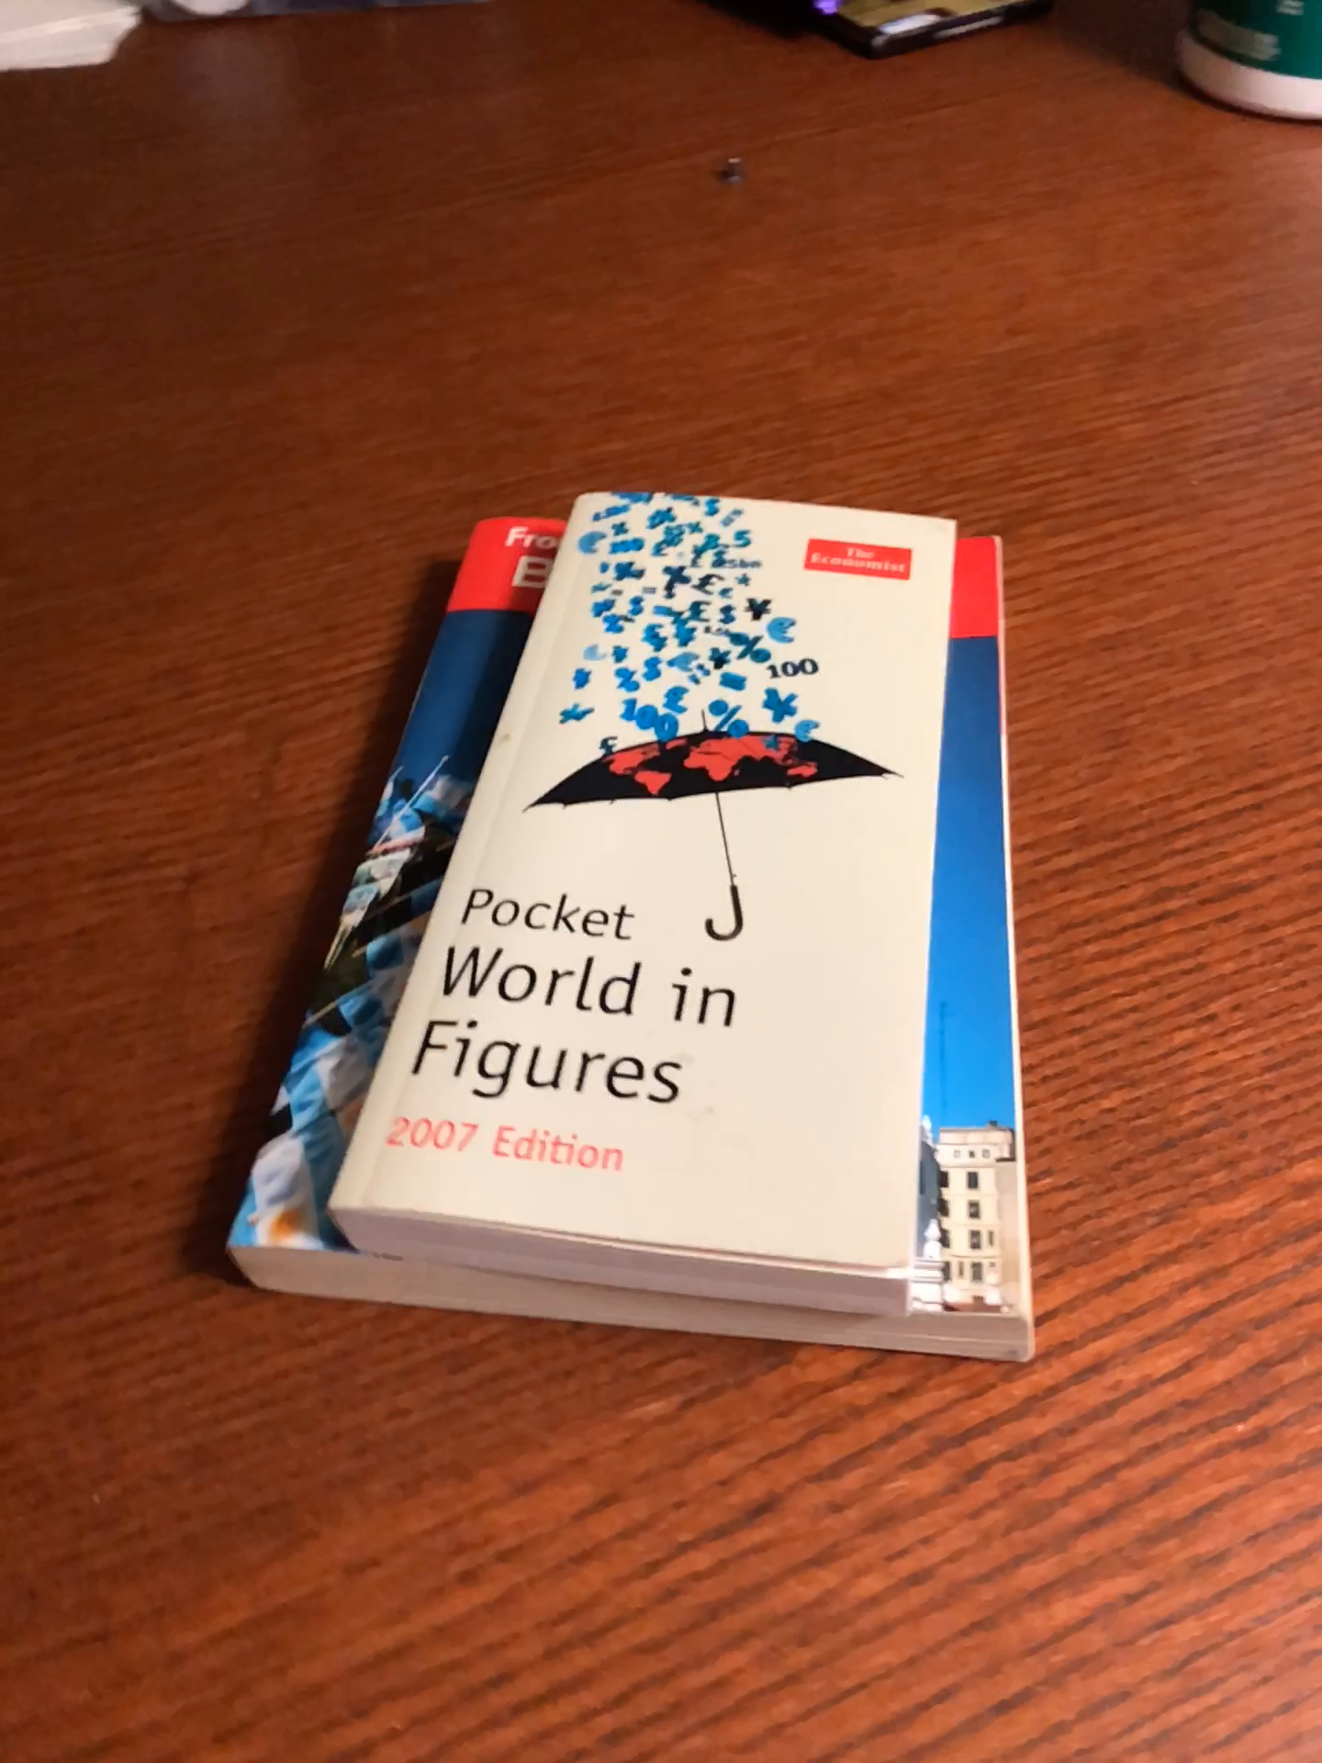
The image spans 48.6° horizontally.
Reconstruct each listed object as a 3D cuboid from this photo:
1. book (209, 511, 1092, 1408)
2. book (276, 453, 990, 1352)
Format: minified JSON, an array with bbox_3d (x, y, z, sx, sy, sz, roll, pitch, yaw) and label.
[{"bbox_3d":[0.010,-0.005,0.307,0.140,0.020,0.211,4,49,7],"label":"book"},{"bbox_3d":[0.009,-0.016,0.284,0.100,0.020,0.201,6,49,8],"label":"book"}]
